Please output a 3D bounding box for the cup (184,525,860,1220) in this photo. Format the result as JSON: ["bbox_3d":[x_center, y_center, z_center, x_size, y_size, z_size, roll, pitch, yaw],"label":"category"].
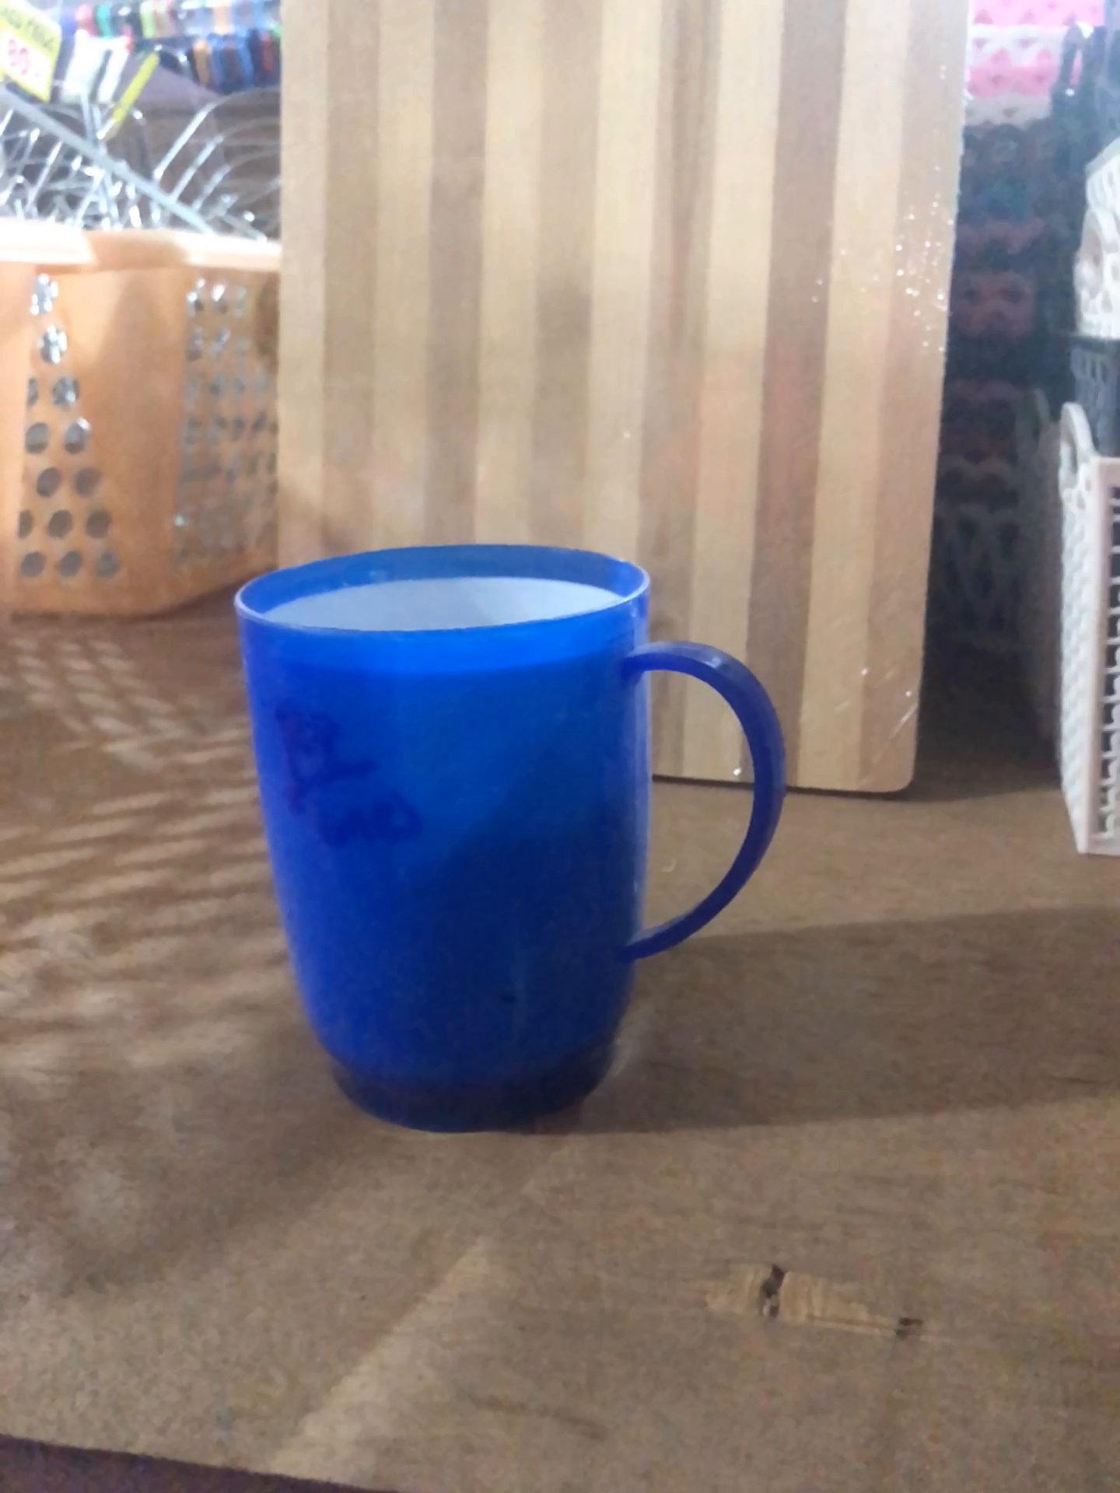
[{"bbox_3d":[-0.001,0.017,0.254,0.110,0.110,0.070,4,20,19],"label":"cup"}]
